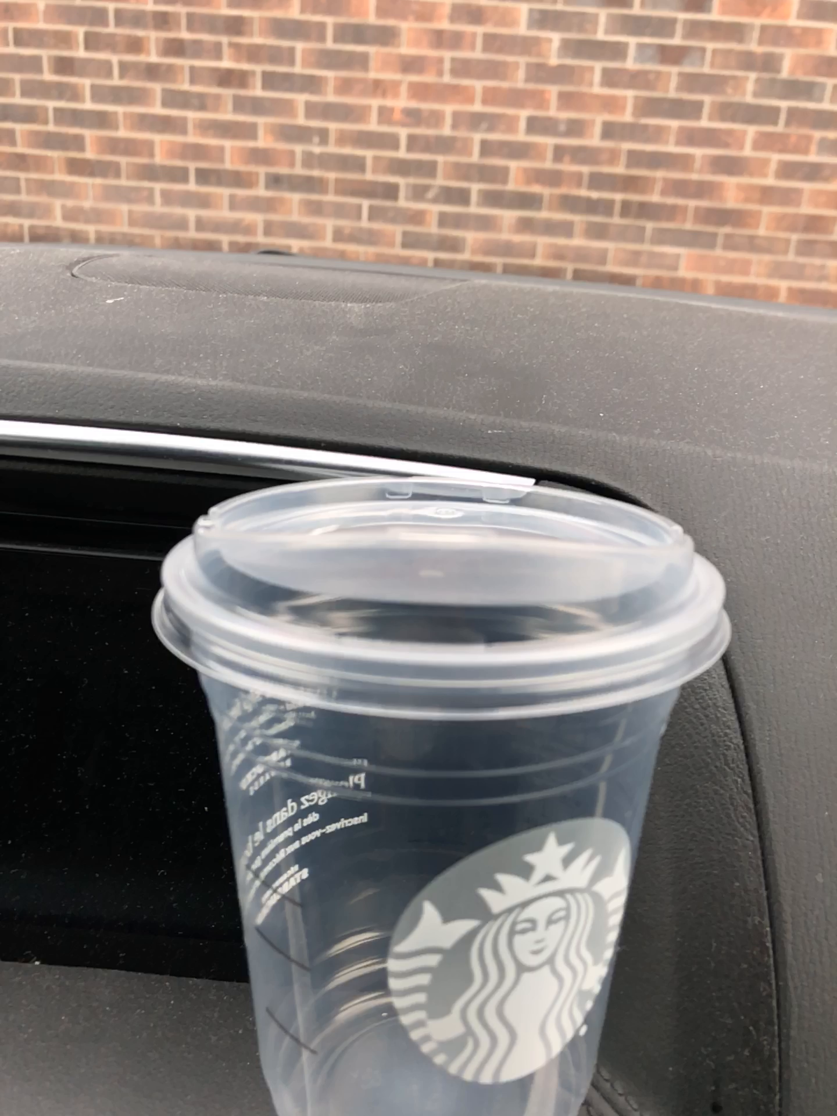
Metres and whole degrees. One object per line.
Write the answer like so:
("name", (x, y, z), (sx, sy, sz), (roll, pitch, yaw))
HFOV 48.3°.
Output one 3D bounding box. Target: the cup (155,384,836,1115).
("cup", (0.006, 0.040, 0.163), (0.088, 0.125, 0.082), (4, 21, -1))
